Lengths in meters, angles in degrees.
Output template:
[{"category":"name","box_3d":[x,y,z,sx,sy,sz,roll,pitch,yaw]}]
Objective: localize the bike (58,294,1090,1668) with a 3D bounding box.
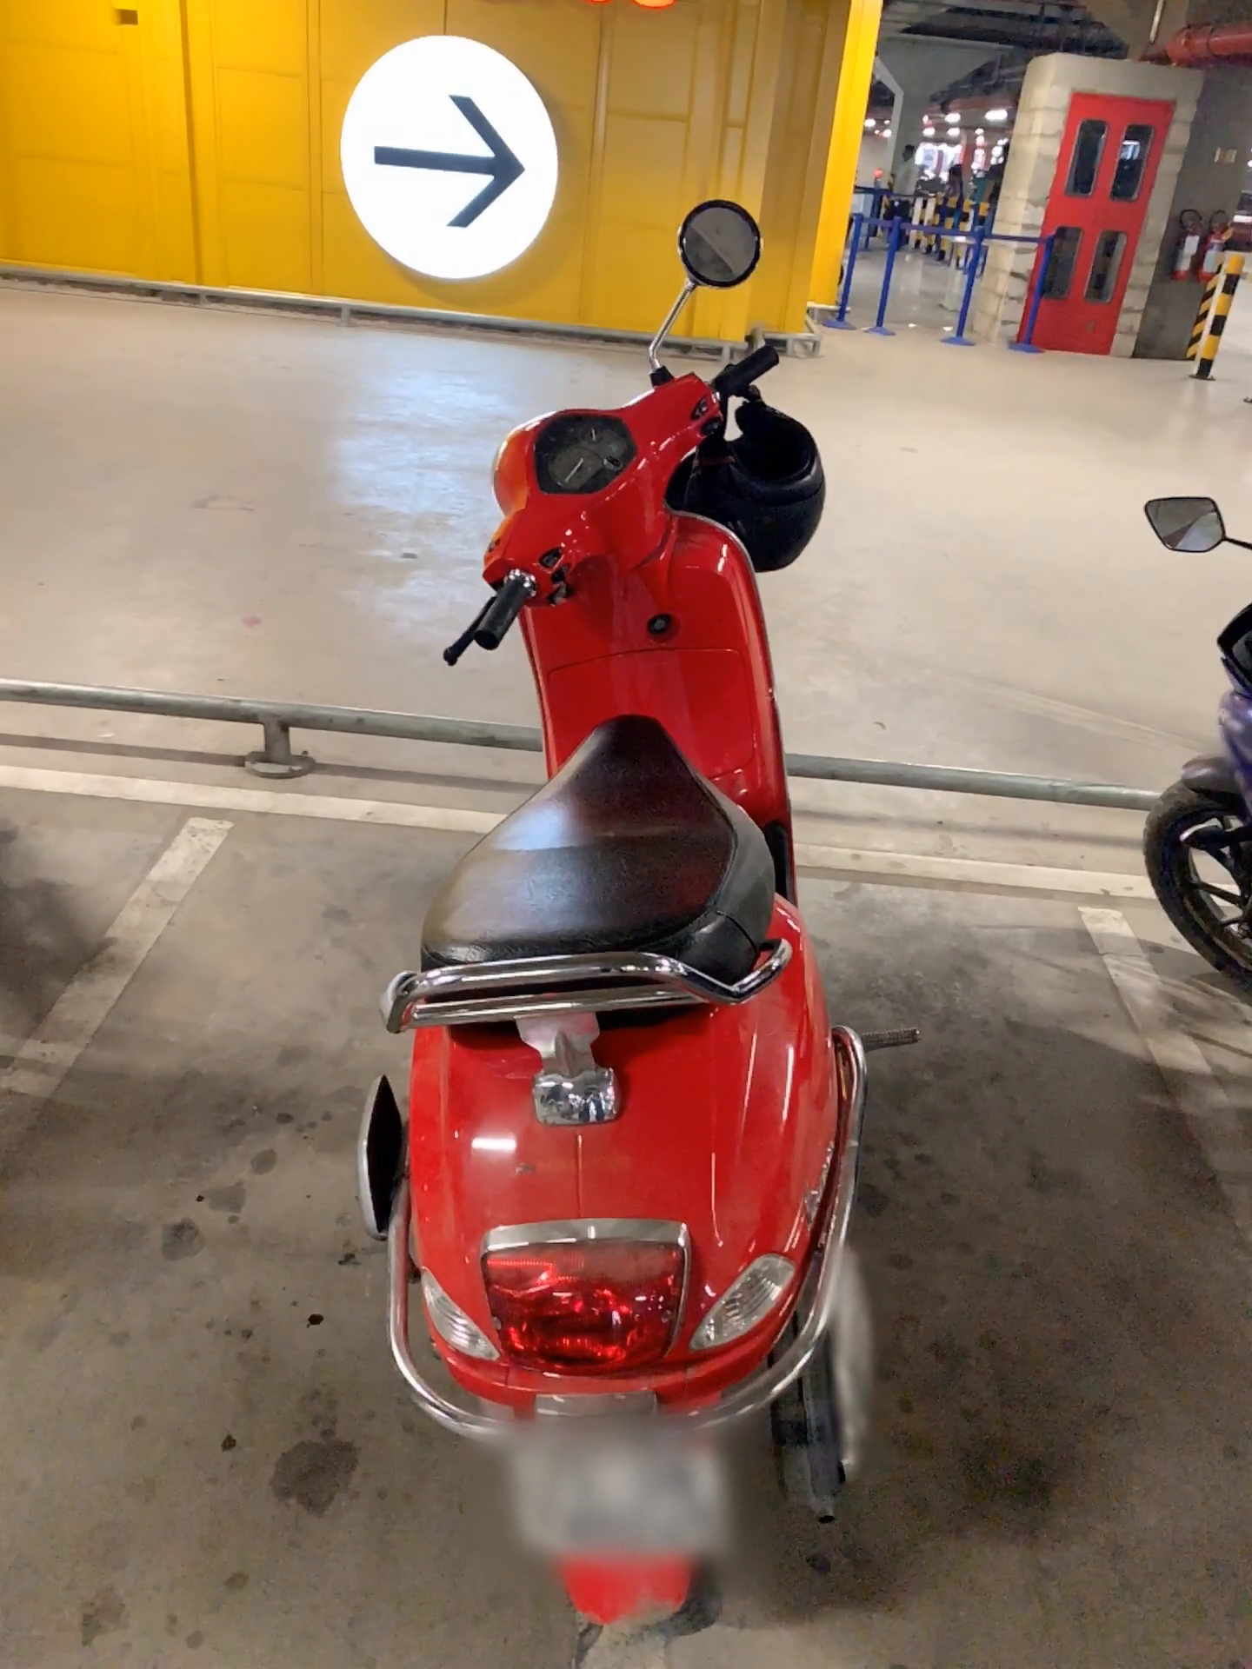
[{"category":"bike","box_3d":[-0.135,-0.006,1.803,0.632,1.202,1.687,3,28,-5]}]
